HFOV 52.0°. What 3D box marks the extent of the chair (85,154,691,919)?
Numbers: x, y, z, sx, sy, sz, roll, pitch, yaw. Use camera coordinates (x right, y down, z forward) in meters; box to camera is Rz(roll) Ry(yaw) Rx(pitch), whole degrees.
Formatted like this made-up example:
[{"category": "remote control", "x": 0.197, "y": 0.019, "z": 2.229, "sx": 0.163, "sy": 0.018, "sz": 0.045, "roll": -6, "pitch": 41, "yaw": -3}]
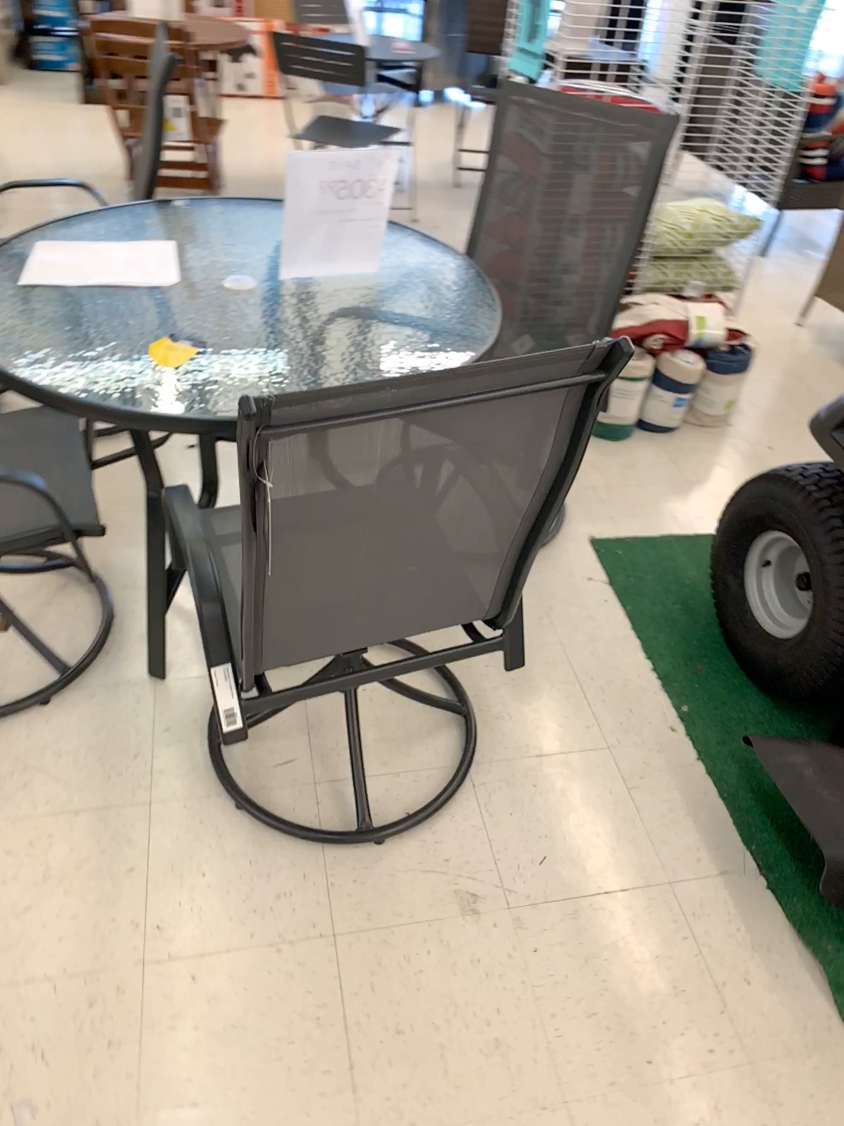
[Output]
[{"category": "chair", "x": -0.124, "y": -0.050, "z": 1.426, "sx": 0.580, "sy": 0.975, "sz": 0.643, "roll": -13, "pitch": 43, "yaw": -22}]
